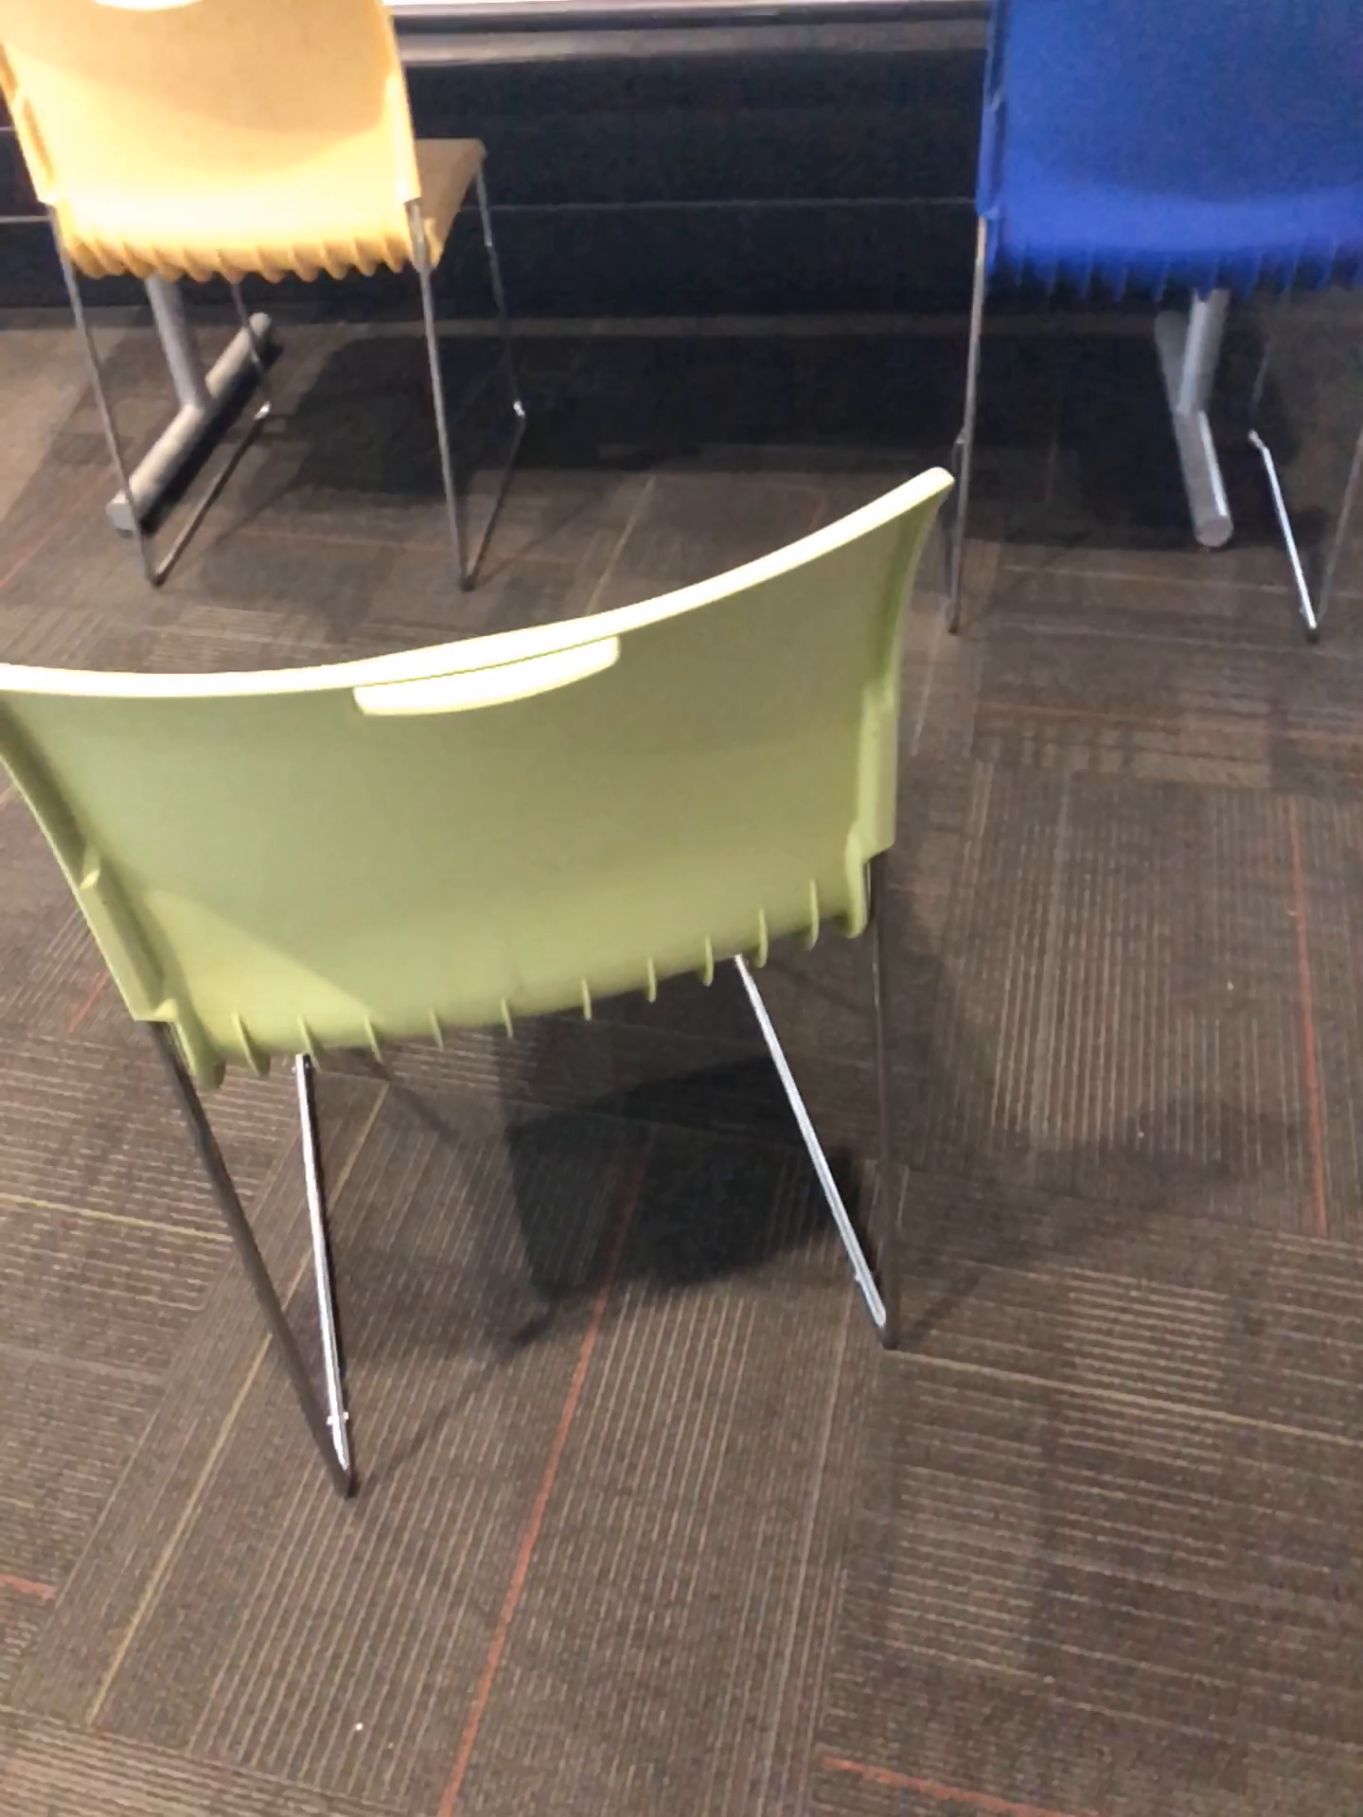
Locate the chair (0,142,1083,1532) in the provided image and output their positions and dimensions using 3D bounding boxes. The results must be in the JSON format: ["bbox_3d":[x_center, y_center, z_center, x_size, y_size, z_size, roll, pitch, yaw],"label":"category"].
[{"bbox_3d":[-0.124,-0.035,1.105,0.540,0.757,0.543,-12,45,-8],"label":"chair"}]
